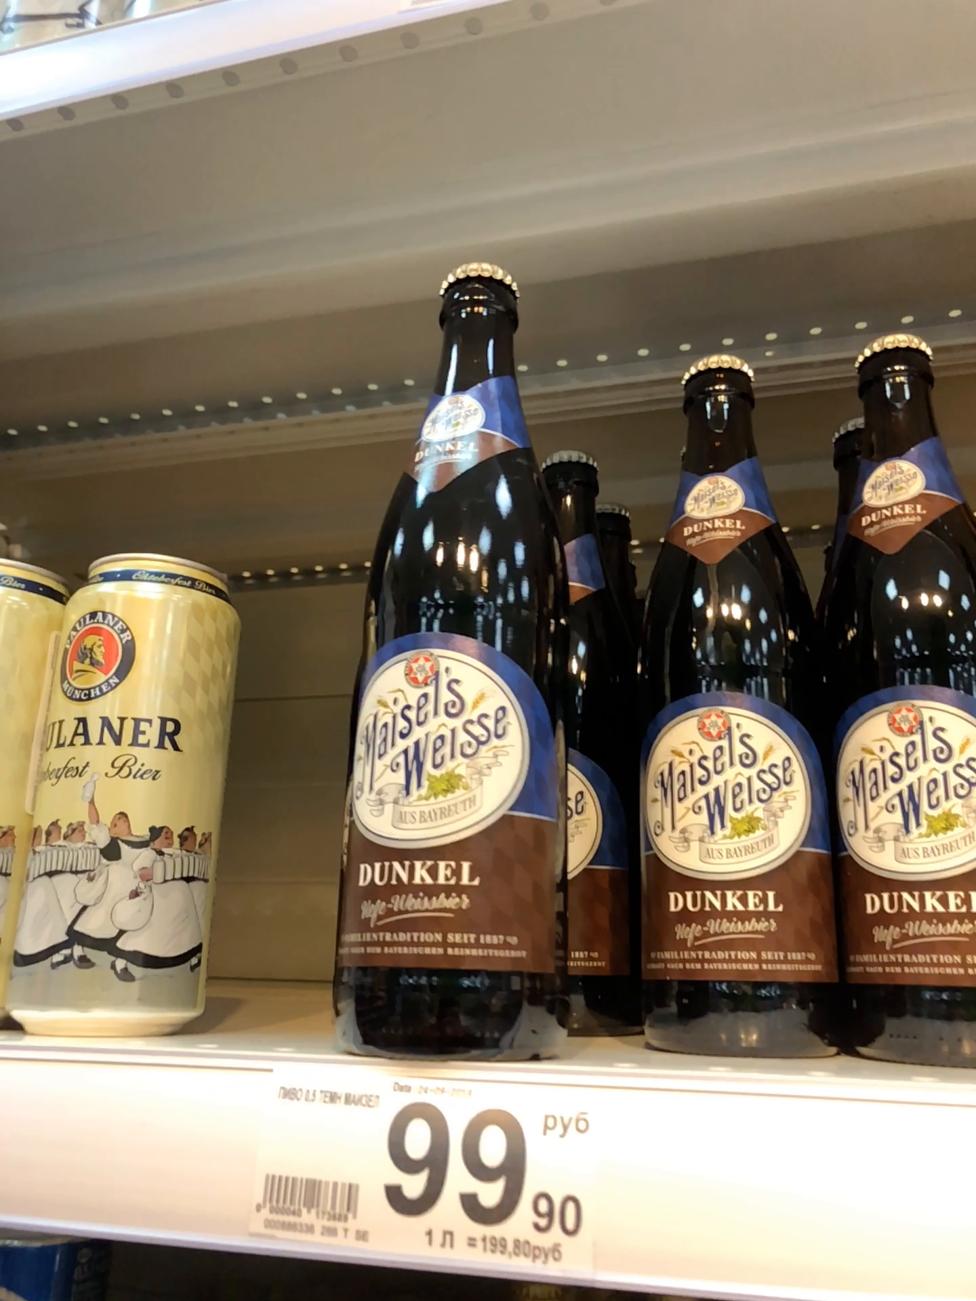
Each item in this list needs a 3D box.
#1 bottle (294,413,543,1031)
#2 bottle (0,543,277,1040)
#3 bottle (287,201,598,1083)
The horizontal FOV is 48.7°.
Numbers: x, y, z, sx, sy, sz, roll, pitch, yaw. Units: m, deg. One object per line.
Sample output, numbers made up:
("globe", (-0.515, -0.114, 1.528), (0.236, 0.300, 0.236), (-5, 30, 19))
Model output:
("bottle", (-0.026, 0.033, 0.499), (0.070, 0.263, 0.082), (-8, -19, 28))
("bottle", (-0.131, 0.052, 0.402), (0.069, 0.168, 0.067), (1, -17, 0))
("bottle", (-0.008, -0.006, 0.351), (0.065, 0.264, 0.066), (1, -17, 0))
